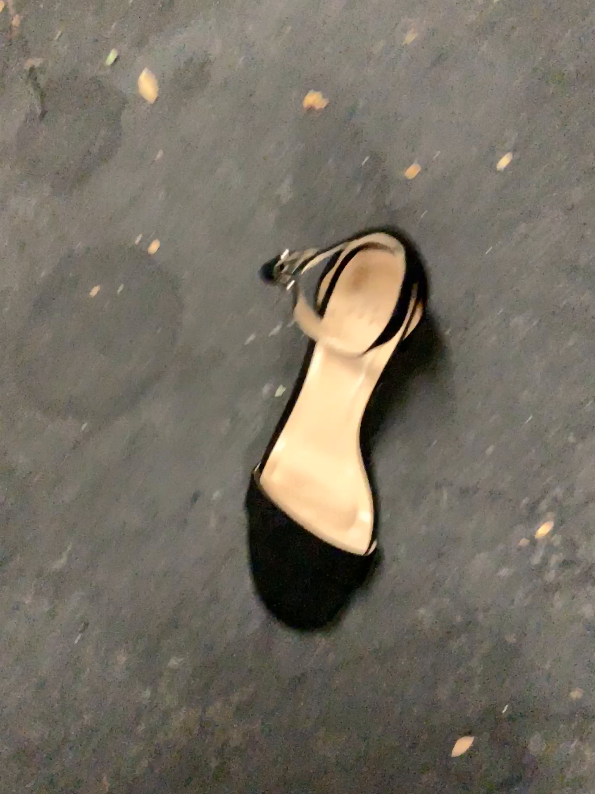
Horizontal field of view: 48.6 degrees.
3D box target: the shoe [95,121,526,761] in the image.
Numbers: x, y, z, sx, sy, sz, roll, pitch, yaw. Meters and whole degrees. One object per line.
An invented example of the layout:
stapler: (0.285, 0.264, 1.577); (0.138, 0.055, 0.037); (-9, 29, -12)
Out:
shoe: (0.012, 0.020, 0.373); (0.120, 0.140, 0.270); (18, 86, 5)
